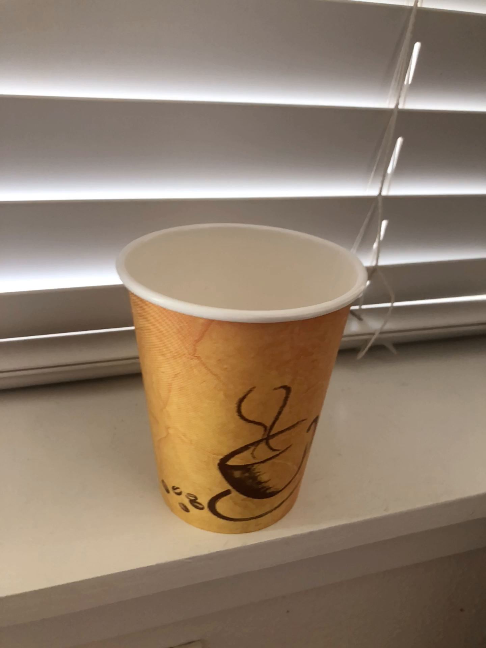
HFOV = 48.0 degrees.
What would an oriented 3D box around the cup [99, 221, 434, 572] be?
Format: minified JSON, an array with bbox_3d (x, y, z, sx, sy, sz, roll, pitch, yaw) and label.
[{"bbox_3d":[-0.003,0.017,0.210,0.095,0.088,0.094,3,26,-1],"label":"cup"}]
